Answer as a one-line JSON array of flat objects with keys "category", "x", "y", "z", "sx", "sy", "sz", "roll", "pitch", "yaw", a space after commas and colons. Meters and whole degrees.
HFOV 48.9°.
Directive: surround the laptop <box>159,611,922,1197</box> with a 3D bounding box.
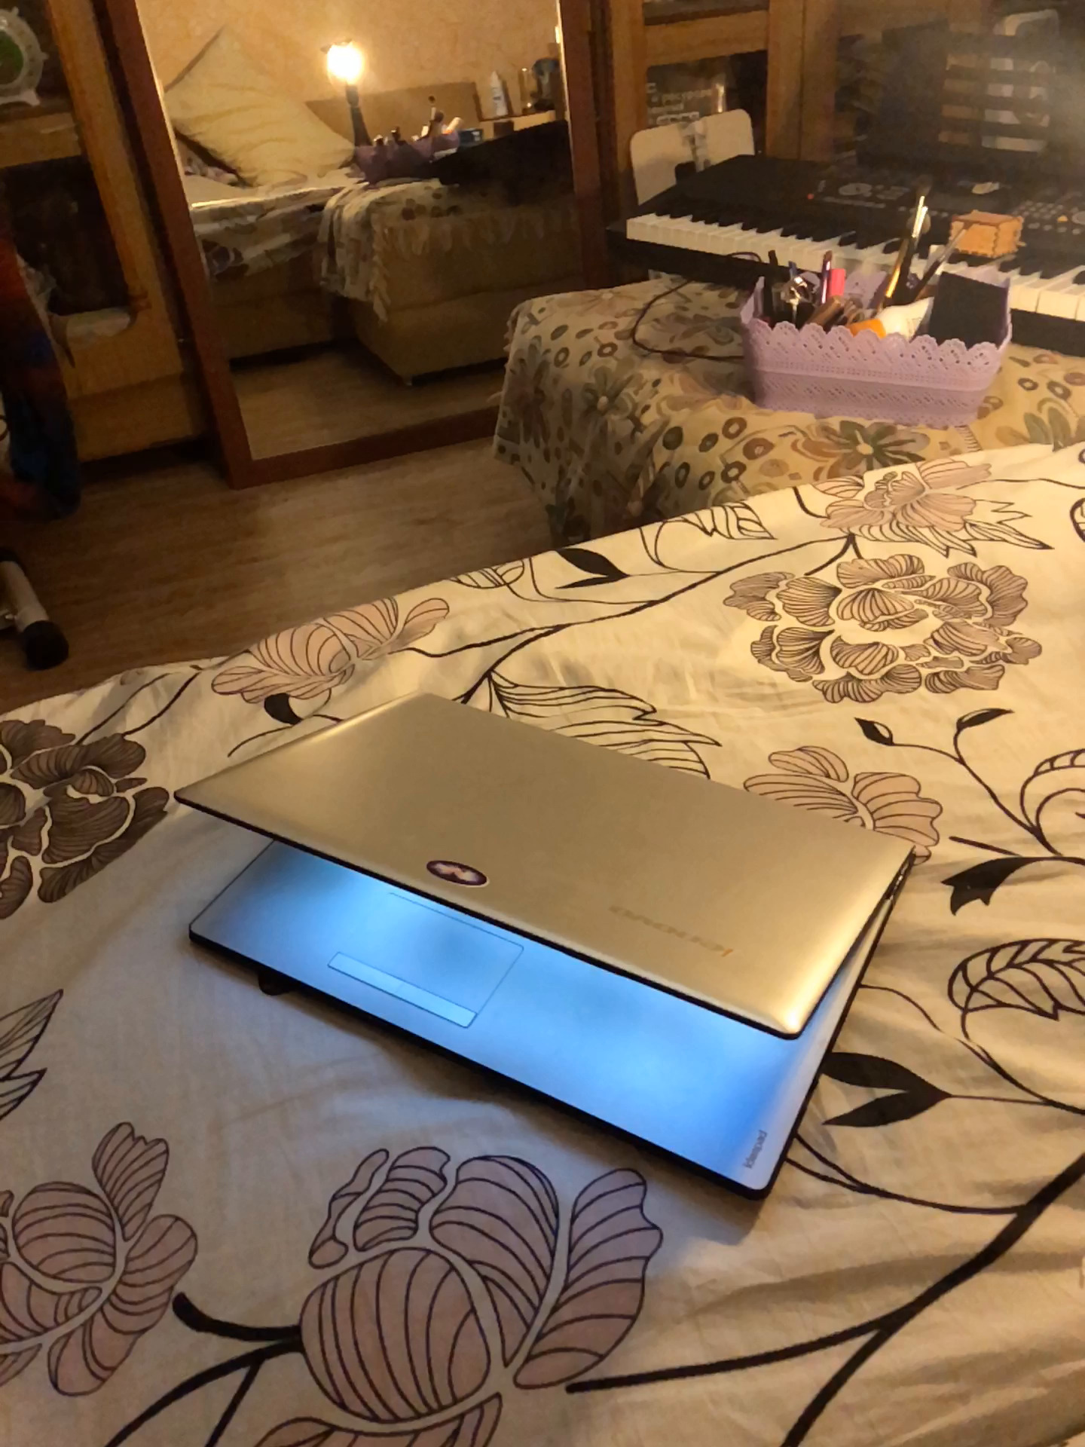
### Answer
[{"category": "laptop", "x": 0.002, "y": 0.071, "z": 0.719, "sx": 0.380, "sy": 0.082, "sz": 0.257, "roll": 16, "pitch": 42, "yaw": 27}]
